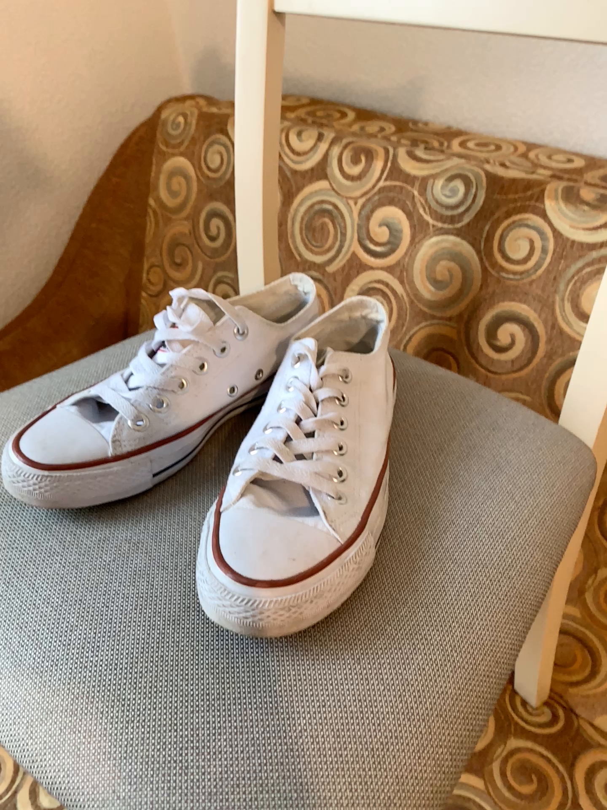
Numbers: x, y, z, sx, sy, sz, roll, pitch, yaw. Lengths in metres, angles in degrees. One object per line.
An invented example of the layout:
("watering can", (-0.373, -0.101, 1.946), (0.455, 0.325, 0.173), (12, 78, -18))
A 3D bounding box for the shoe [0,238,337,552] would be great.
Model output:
("shoe", (-0.085, -0.022, 0.389), (0.090, 0.060, 0.220), (29, 51, 32))

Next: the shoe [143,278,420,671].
("shoe", (0.006, 0.016, 0.343), (0.090, 0.060, 0.221), (7, 43, 12))
